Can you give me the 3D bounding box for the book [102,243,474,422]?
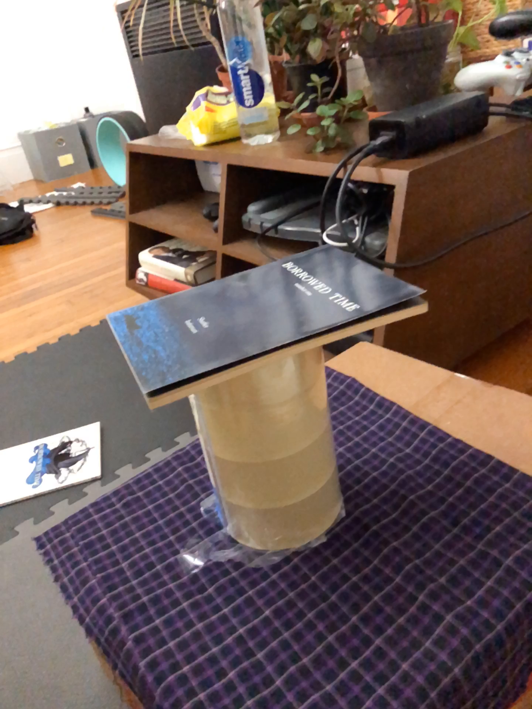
[{"bbox_3d":[0.007,-0.031,0.436,0.230,0.010,0.161,-18,30,-17],"label":"book"}]
